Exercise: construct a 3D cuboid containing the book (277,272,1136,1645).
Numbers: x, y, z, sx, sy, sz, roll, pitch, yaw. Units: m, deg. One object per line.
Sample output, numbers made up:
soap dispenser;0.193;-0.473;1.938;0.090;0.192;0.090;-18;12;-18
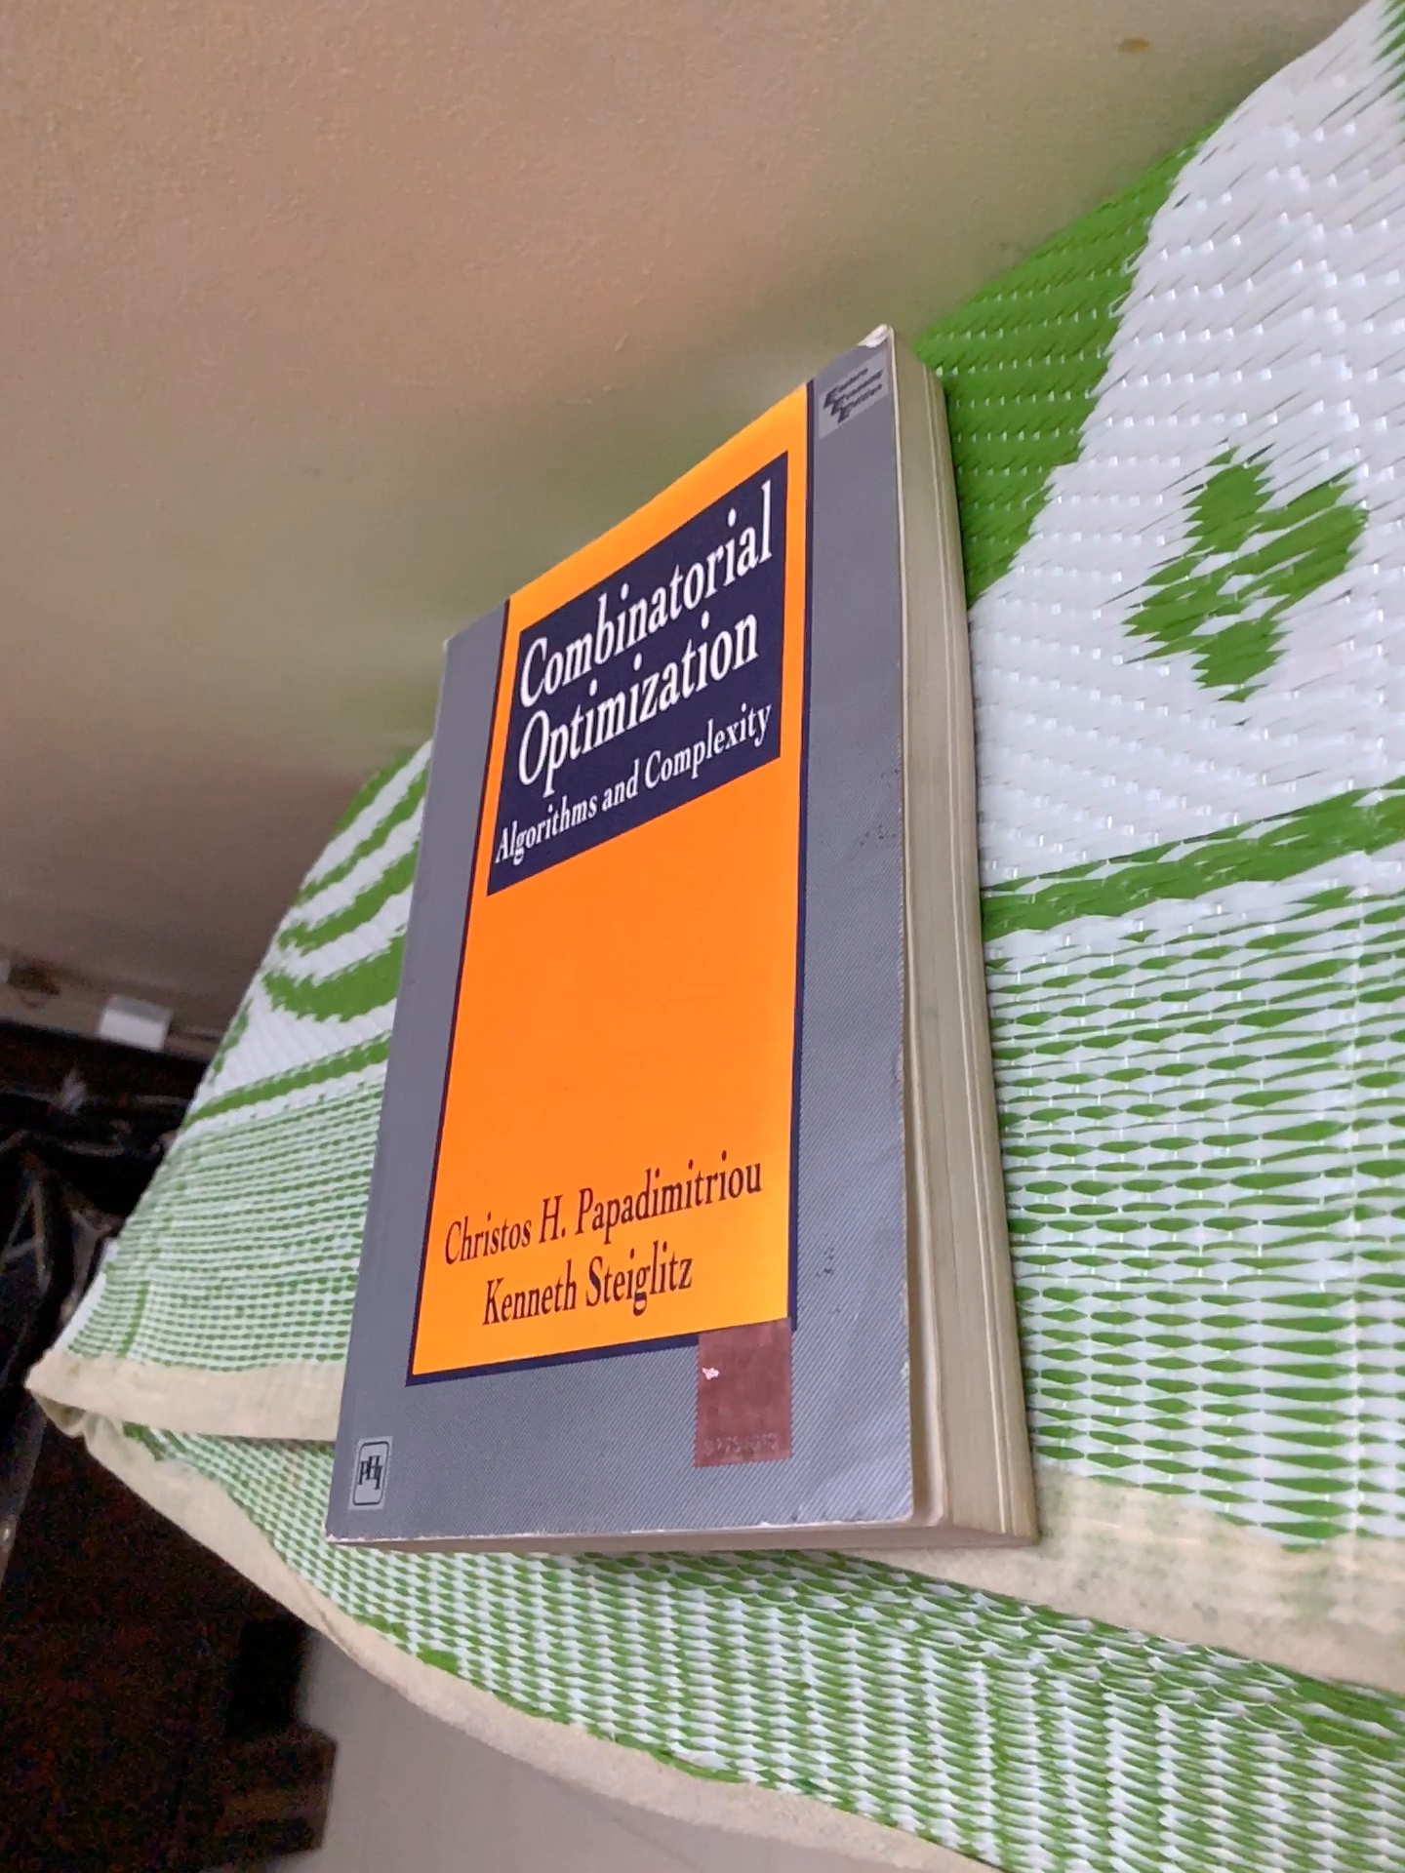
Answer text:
book;-0.001;0.002;0.322;0.171;0.040;0.271;-22;51;39
